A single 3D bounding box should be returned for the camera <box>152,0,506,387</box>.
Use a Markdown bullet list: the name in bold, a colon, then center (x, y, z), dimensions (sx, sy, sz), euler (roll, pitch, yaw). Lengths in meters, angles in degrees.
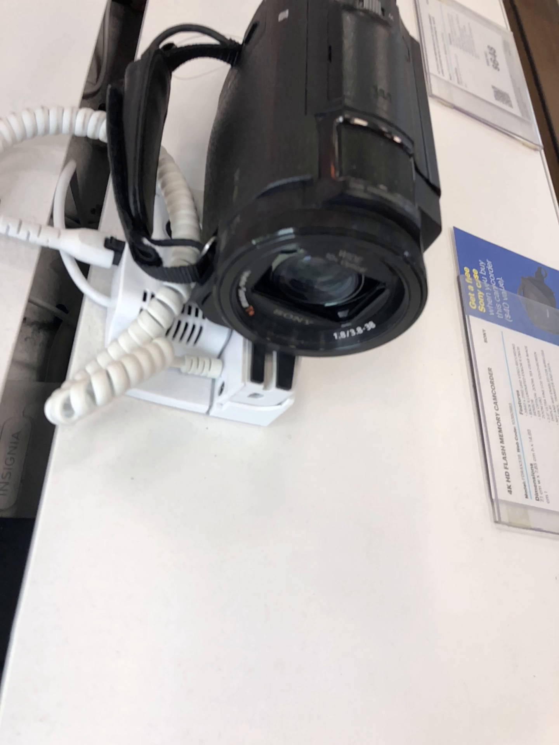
- **camera**: center (0.013, -0.085, 0.221), dimensions (0.080, 0.070, 0.150), euler (15, 58, -23)
